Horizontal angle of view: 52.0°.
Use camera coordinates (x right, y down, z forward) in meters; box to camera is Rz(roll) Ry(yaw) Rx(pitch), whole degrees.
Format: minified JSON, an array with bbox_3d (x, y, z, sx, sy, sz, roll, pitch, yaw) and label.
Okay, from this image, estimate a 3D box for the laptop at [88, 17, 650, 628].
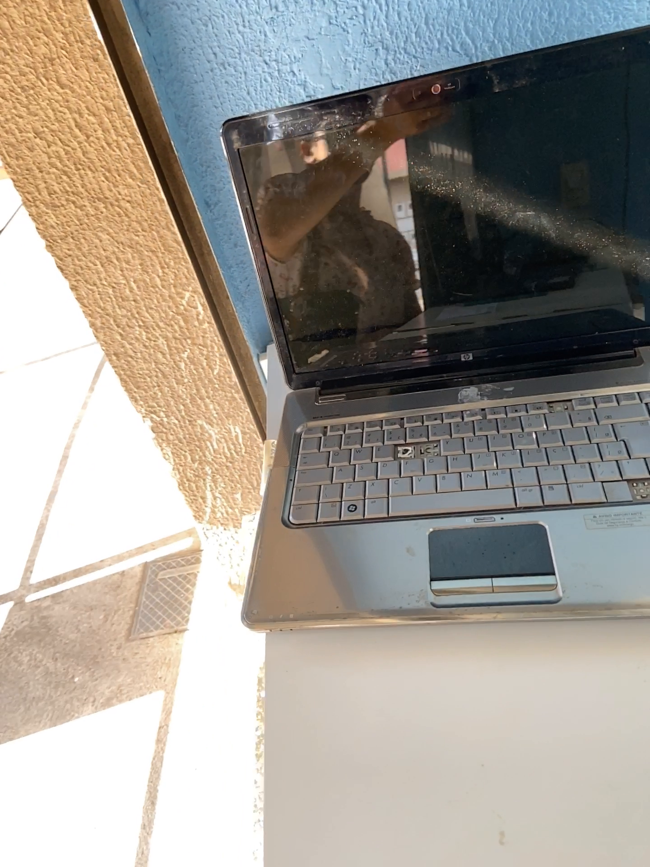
[{"bbox_3d":[0.097,-0.082,0.473,0.351,0.233,0.330,-6,42,13],"label":"laptop"}]
